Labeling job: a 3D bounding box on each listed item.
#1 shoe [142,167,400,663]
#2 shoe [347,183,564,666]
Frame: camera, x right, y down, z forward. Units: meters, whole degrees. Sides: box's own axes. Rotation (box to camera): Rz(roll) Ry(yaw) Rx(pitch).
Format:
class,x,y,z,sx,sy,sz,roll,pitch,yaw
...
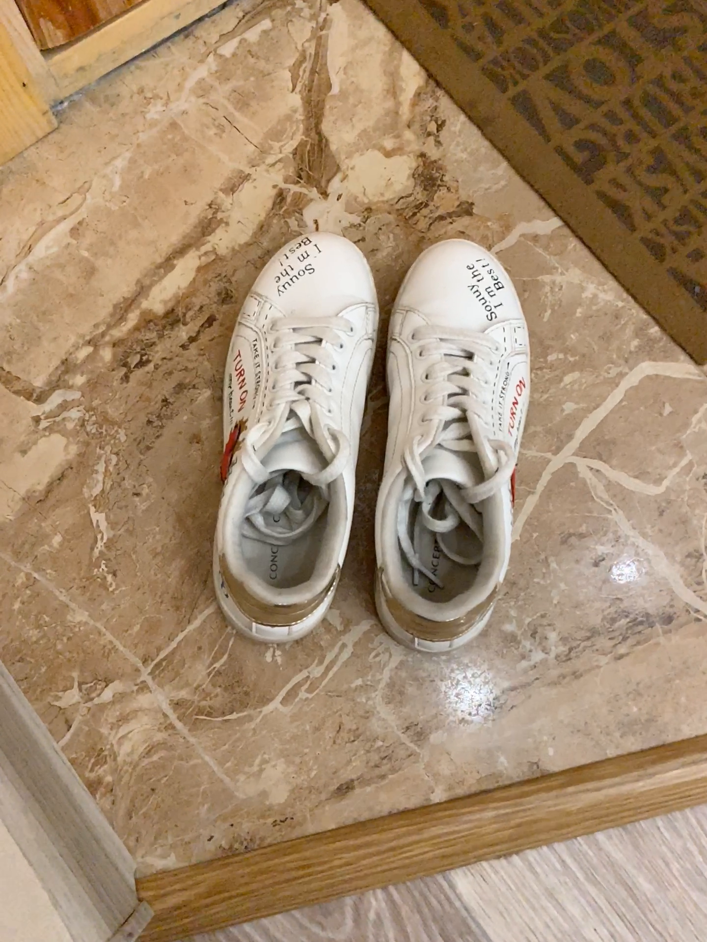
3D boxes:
class,x,y,z,sx,sy,sz,roll,pitch,yaw
shoe,-0.038,-0.030,0.412,0.092,0.080,0.256,8,77,1
shoe,0.058,-0.025,0.423,0.092,0.080,0.256,7,77,0
